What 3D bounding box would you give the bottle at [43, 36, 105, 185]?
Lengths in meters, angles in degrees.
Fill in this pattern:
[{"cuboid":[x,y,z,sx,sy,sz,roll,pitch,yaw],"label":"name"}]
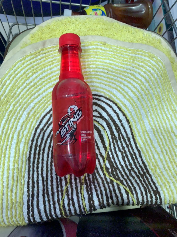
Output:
[{"cuboid":[-0.021,-0.012,0.229,0.060,0.040,0.170,-3,82,-7],"label":"bottle"}]
